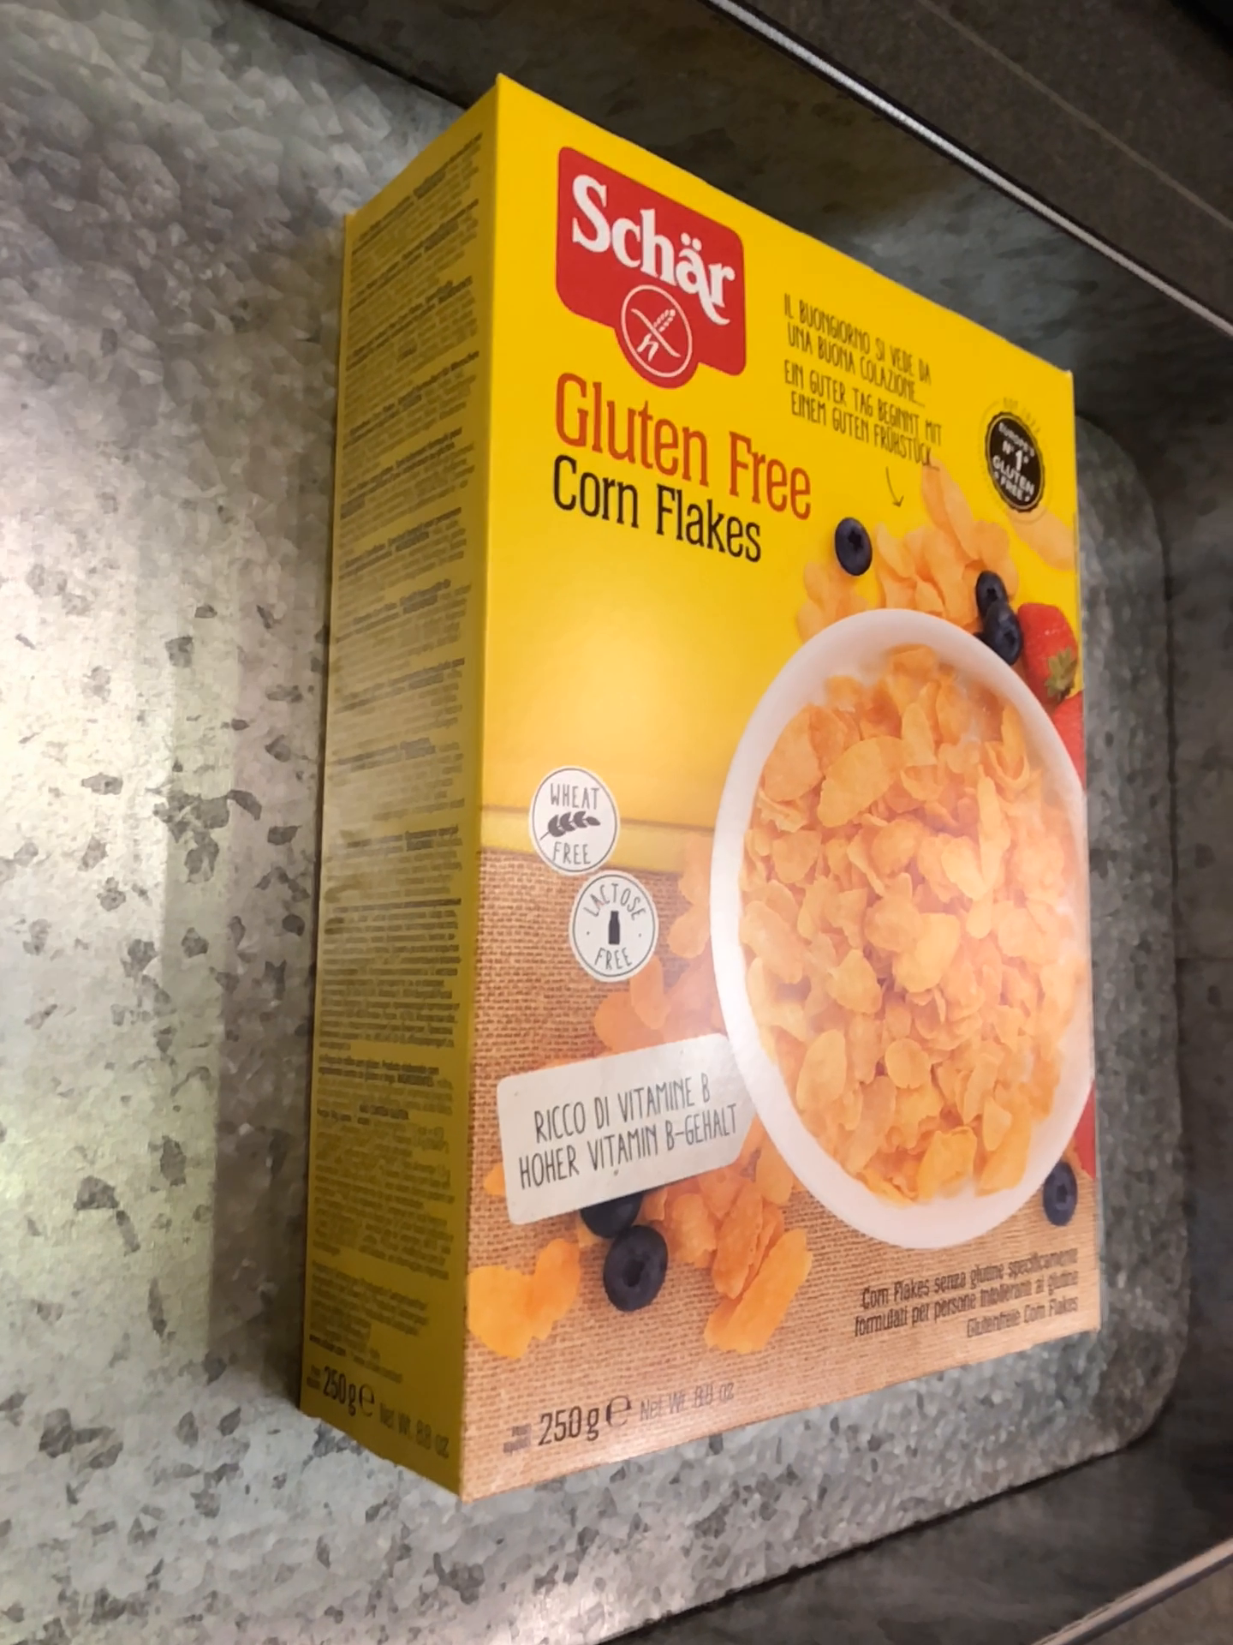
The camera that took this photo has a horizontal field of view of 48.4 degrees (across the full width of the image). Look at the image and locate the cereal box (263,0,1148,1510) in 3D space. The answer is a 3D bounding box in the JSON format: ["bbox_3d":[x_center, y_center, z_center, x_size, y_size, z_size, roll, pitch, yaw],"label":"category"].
[{"bbox_3d":[0.033,-0.009,0.314,0.201,0.070,0.250,6,82,-40],"label":"cereal box"}]
